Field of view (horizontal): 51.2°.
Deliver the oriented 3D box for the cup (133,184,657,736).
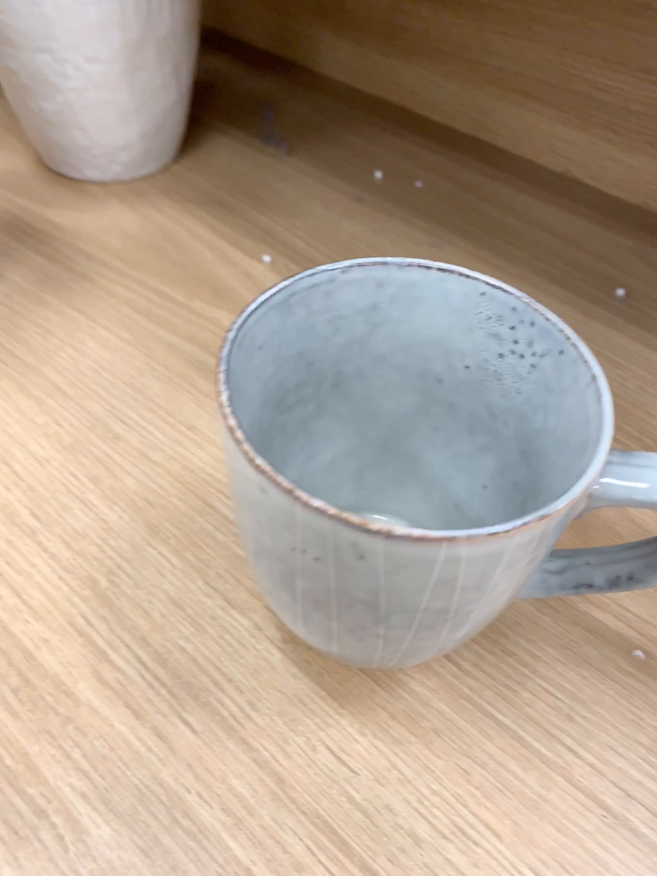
[{"bbox_3d":[0.034,0.006,0.207,0.136,0.098,0.107,10,51,5],"label":"cup"}]
